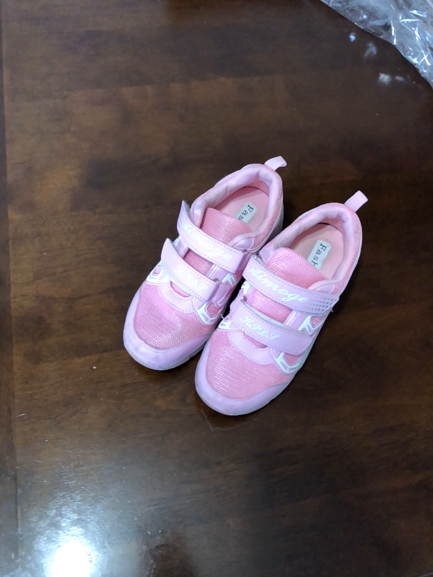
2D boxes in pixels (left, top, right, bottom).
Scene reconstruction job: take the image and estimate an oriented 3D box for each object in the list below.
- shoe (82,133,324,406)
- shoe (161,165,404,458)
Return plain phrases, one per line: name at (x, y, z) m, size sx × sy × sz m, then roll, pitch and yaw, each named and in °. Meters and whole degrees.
shoe at (-0.006, -0.023, 0.495) m, size 0.100 × 0.110 × 0.250 m, roll 33°, pitch 66°, yaw 11°
shoe at (0.067, 0.019, 0.486) m, size 0.110 × 0.110 × 0.260 m, roll 32°, pitch 65°, yaw 10°
